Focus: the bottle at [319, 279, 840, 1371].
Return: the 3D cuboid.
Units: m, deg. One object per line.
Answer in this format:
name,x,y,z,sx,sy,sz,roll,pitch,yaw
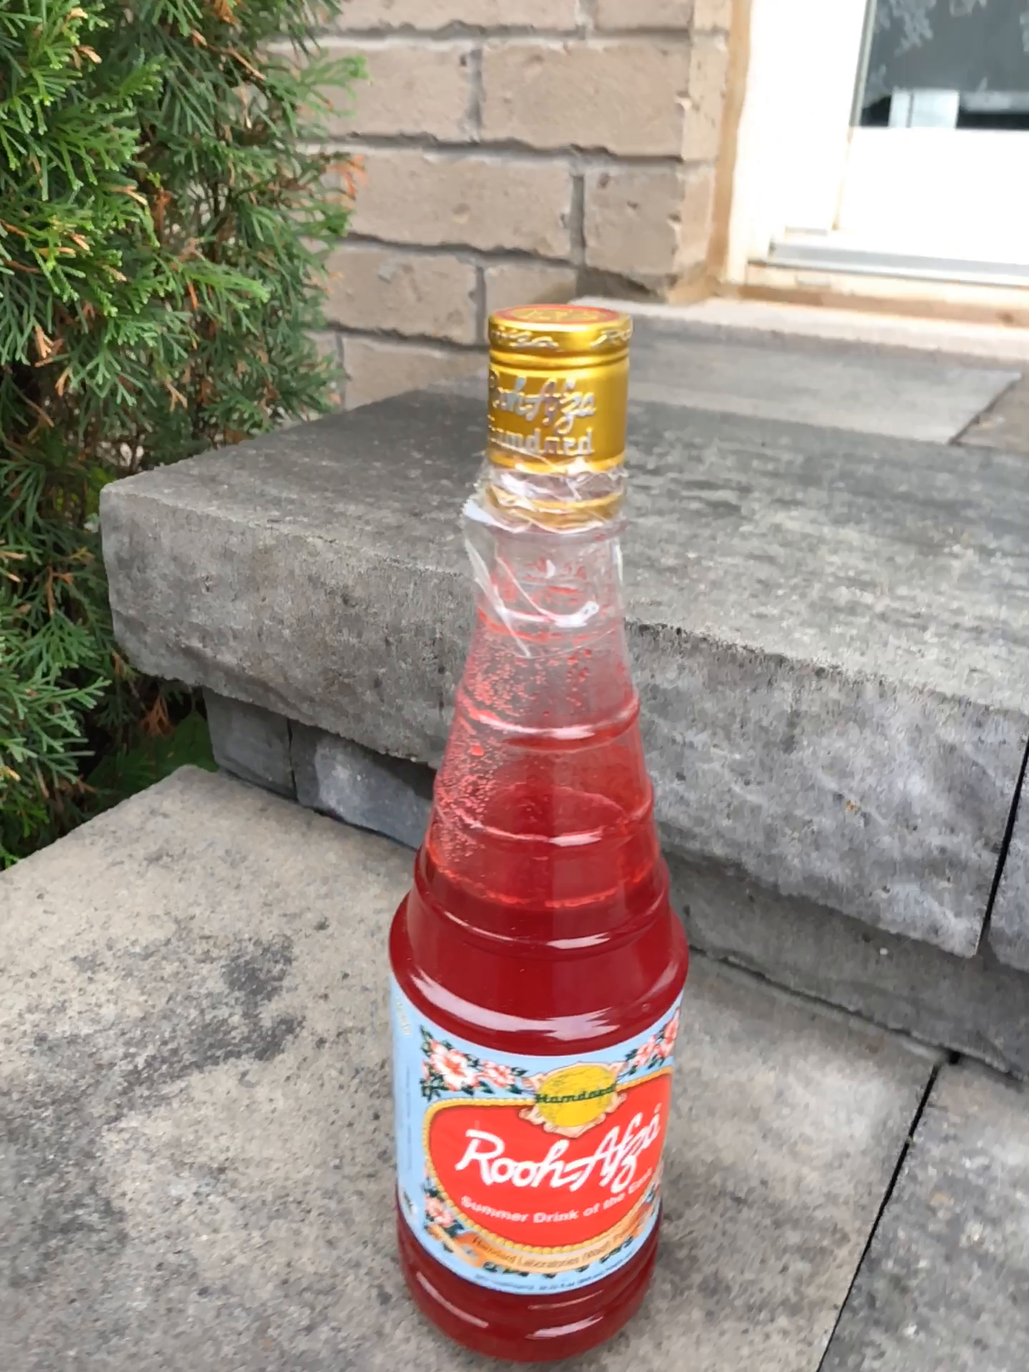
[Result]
bottle,0.004,0.049,0.291,0.090,0.279,0.080,-3,26,-9
